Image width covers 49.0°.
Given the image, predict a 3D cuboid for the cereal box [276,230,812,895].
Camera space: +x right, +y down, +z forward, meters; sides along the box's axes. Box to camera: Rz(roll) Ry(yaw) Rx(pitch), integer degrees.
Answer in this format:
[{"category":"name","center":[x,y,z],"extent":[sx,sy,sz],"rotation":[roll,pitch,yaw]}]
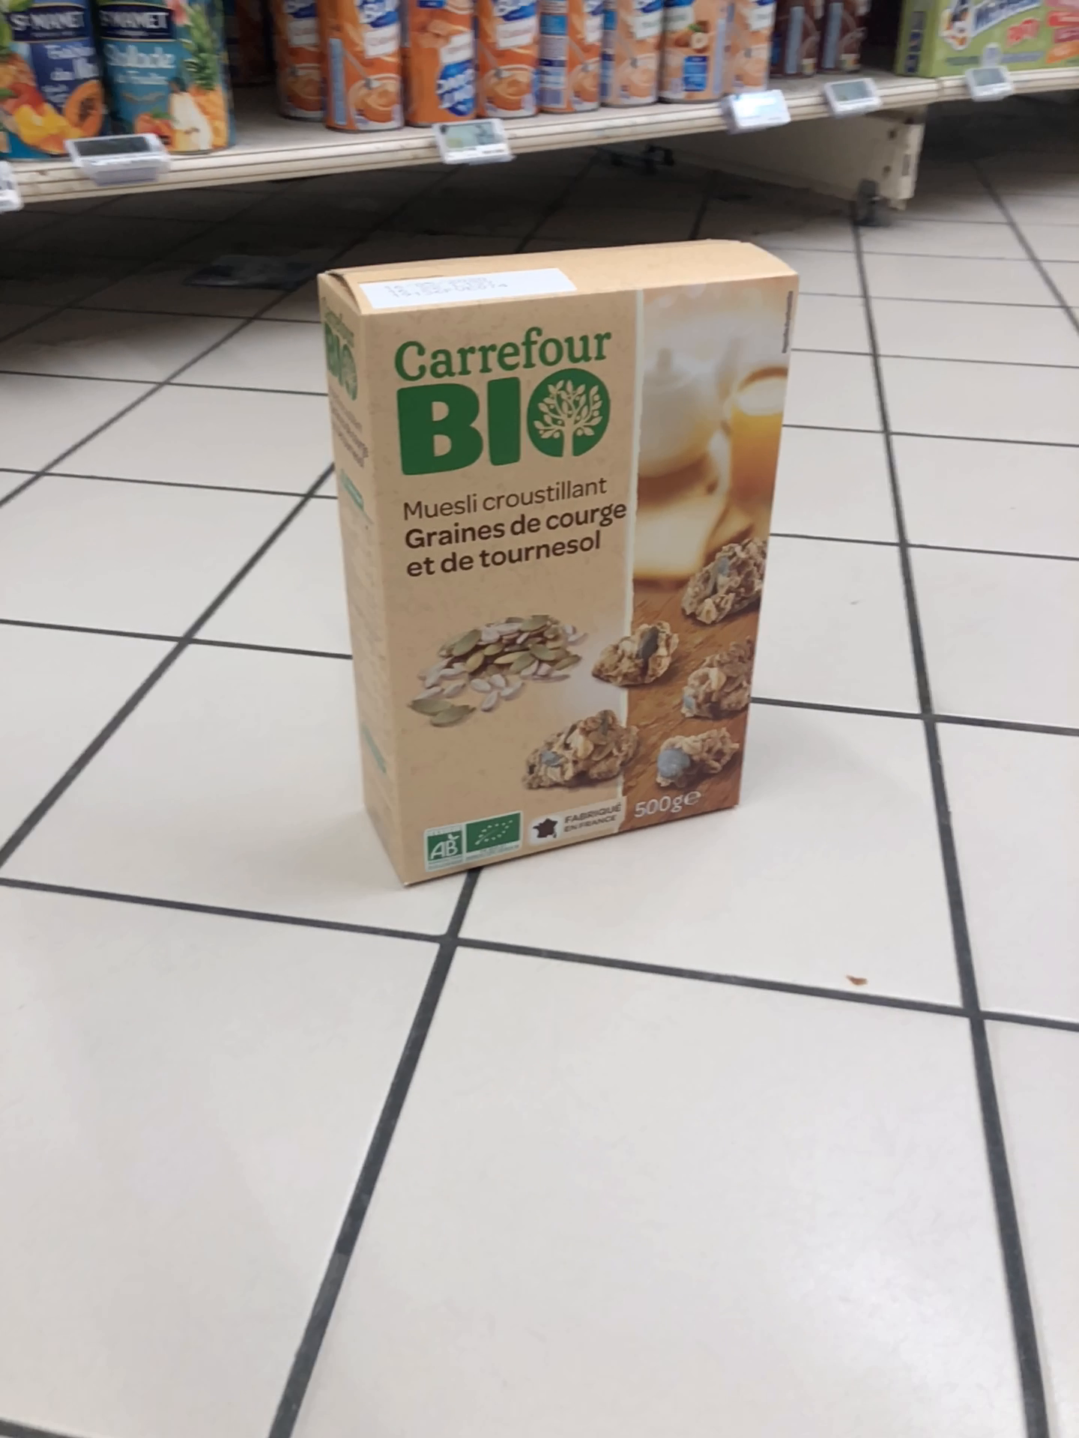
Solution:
[{"category":"cereal box","center":[0.001,-0.059,0.468],"extent":[0.170,0.229,0.070],"rotation":[-11,35,-18]}]
